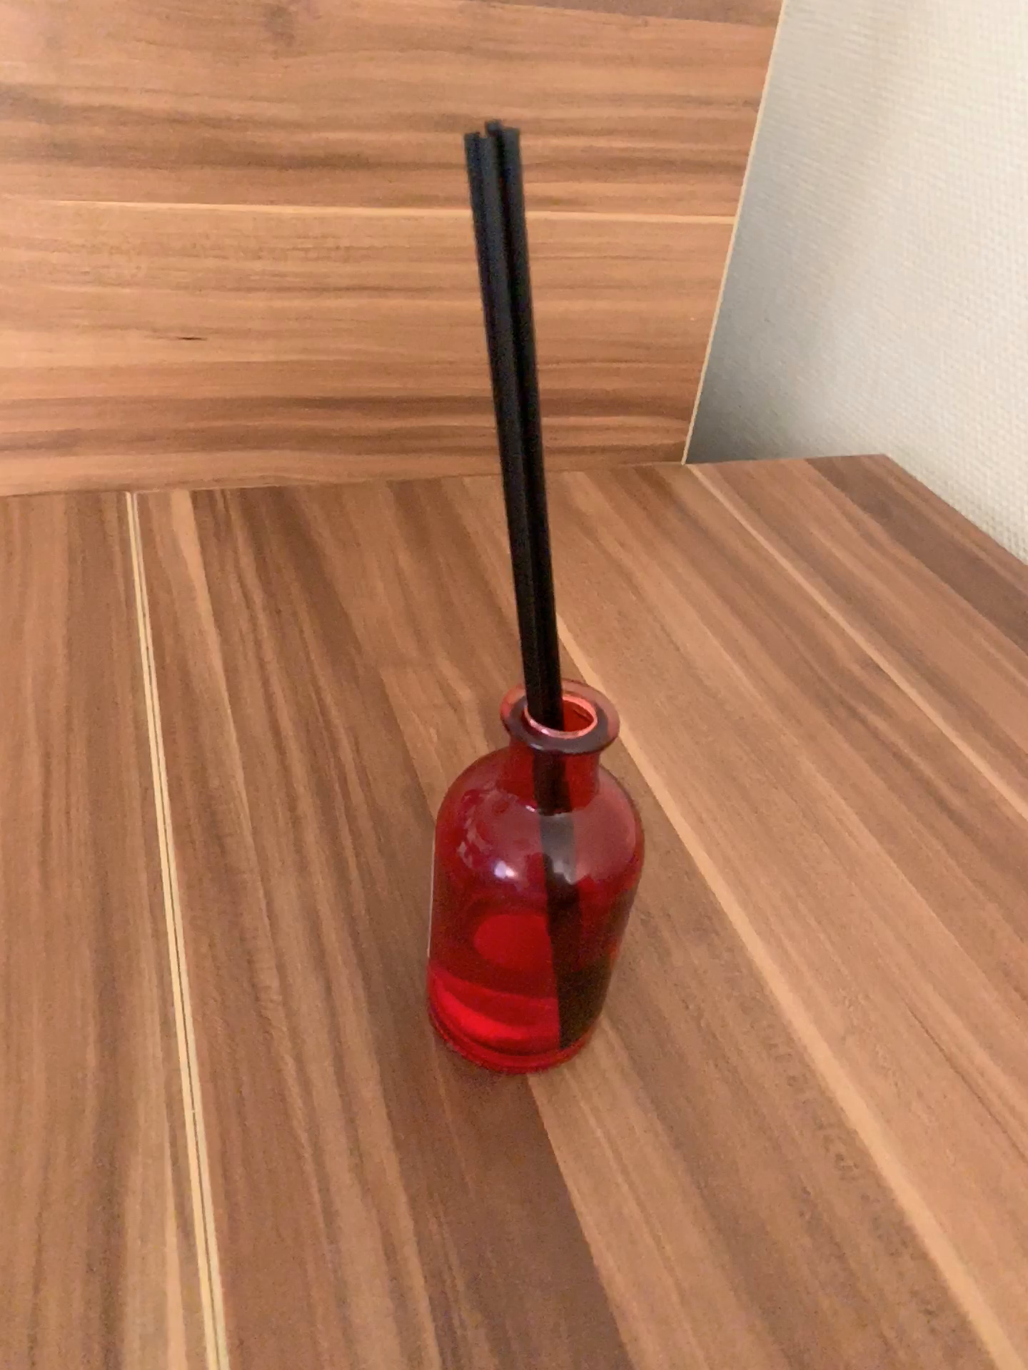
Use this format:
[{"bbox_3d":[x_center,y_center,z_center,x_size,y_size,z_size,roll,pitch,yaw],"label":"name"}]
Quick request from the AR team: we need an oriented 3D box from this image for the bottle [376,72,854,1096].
[{"bbox_3d":[0.004,0.001,0.244,0.060,0.239,0.050,-3,38,-14],"label":"bottle"}]
